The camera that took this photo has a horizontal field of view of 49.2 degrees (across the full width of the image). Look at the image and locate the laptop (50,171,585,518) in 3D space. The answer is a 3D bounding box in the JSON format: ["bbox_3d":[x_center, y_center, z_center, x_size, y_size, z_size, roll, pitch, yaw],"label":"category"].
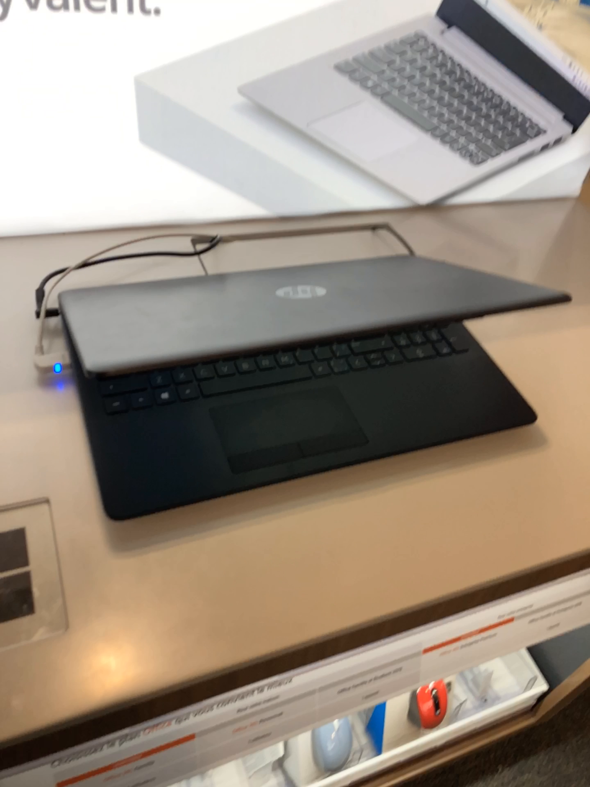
[{"bbox_3d":[0.004,-0.066,0.531,0.352,0.107,0.239,-10,49,-20],"label":"laptop"}]
